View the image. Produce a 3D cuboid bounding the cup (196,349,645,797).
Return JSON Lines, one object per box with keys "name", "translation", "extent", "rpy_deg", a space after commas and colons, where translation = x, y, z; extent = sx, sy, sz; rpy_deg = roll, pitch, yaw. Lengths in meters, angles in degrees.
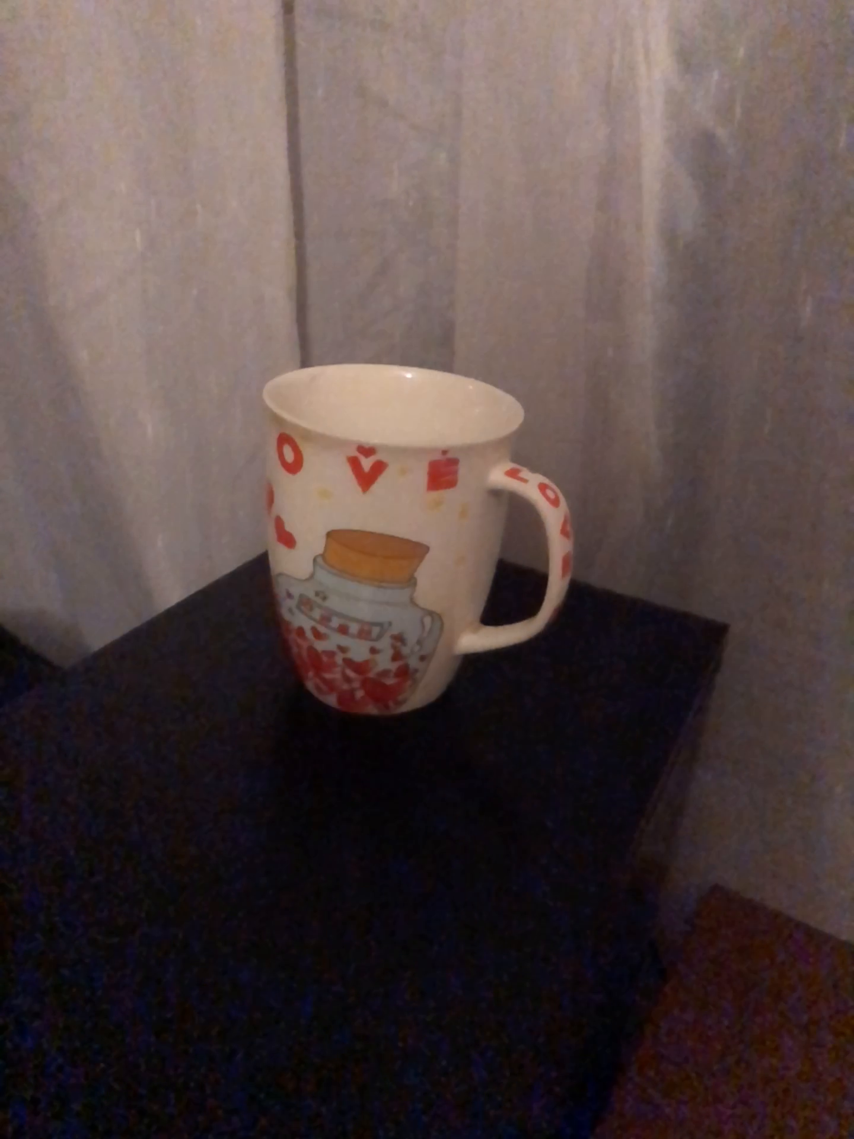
{"name": "cup", "translation": [-0.002, -0.007, 0.305], "extent": [0.111, 0.098, 0.079], "rpy_deg": [15, 27, 23]}
